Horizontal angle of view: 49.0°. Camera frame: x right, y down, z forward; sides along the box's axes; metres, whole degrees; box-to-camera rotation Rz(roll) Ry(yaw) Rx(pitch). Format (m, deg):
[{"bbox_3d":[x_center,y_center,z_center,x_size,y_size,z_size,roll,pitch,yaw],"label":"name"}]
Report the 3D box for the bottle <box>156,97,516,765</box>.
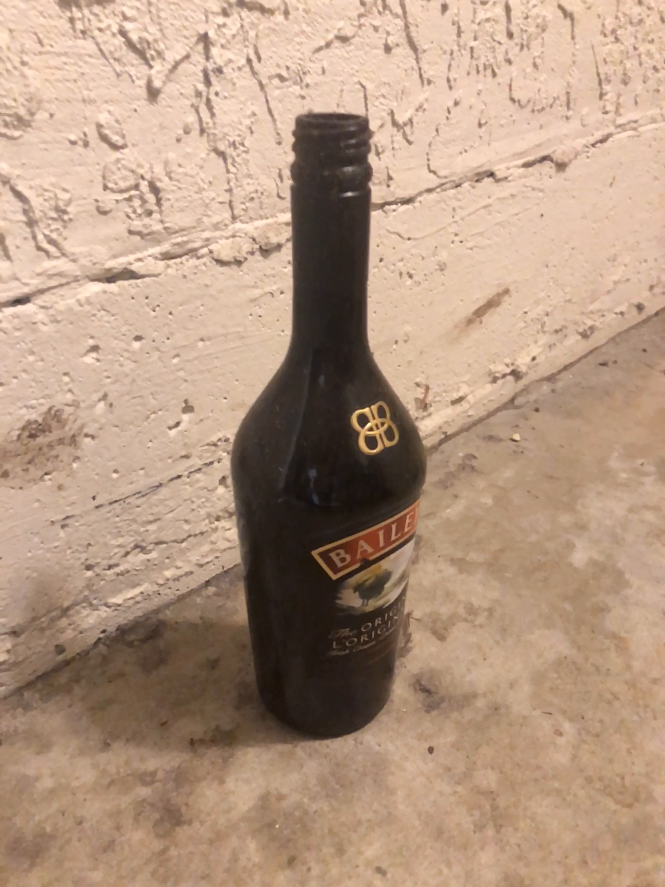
[{"bbox_3d":[0.004,0.002,0.311,0.090,0.258,0.080,-26,39,-34],"label":"bottle"}]
